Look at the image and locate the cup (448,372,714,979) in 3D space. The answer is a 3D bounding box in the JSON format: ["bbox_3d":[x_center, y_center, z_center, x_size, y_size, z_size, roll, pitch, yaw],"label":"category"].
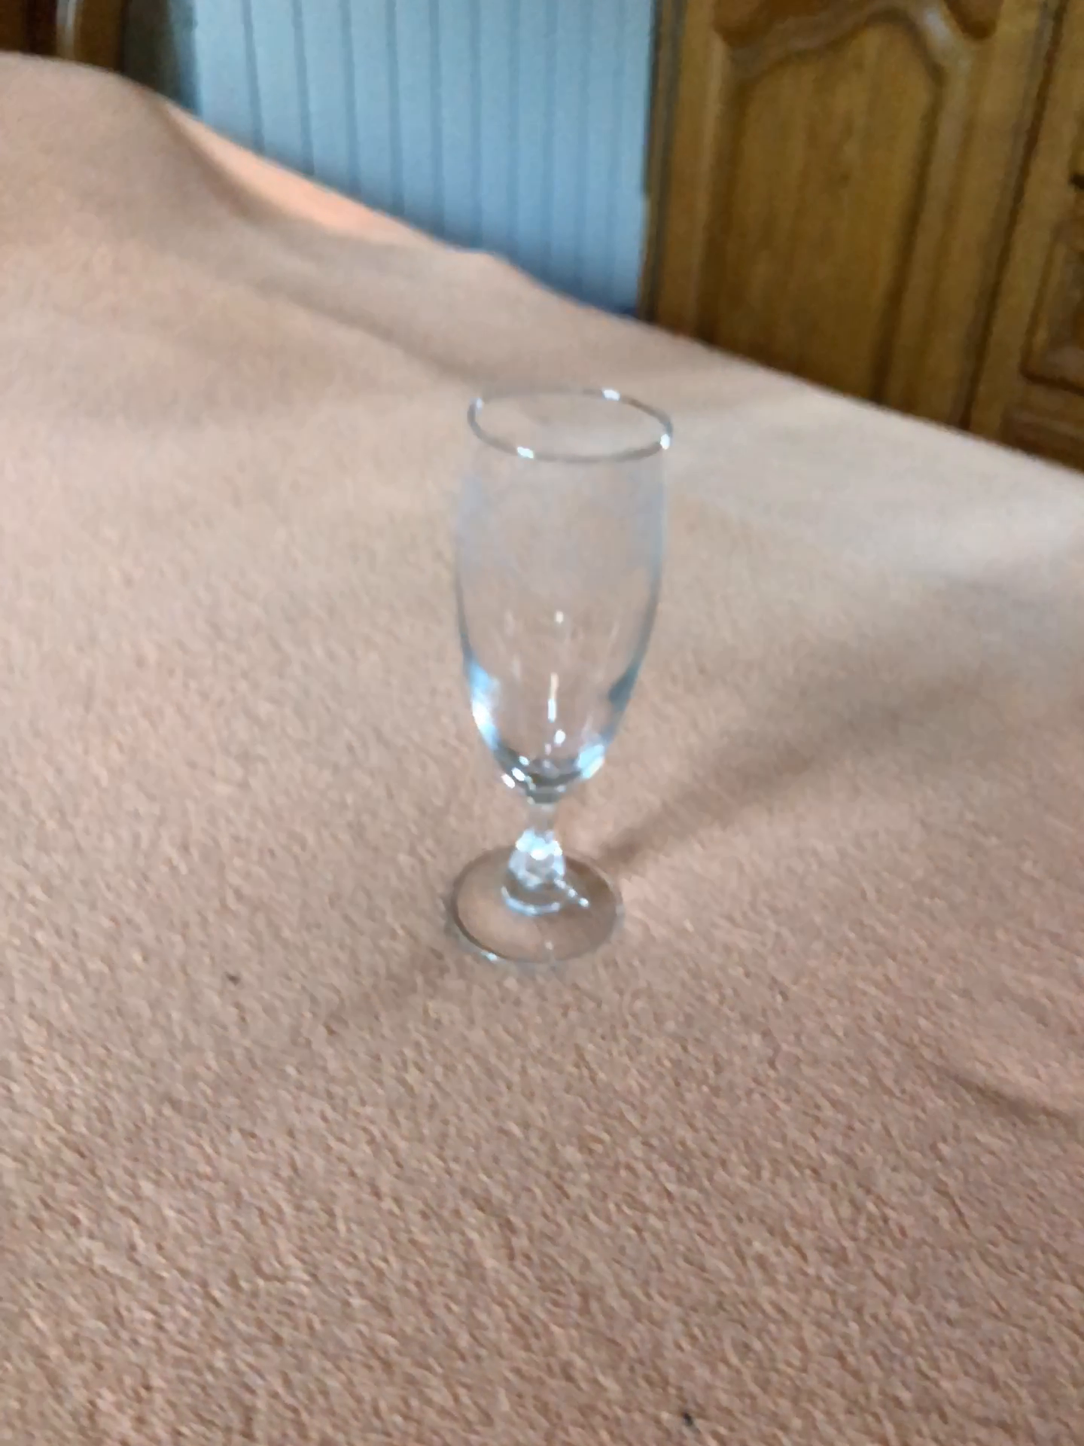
[{"bbox_3d":[0.006,-0.009,0.342,0.060,0.159,0.060,2,31,-1],"label":"cup"}]
